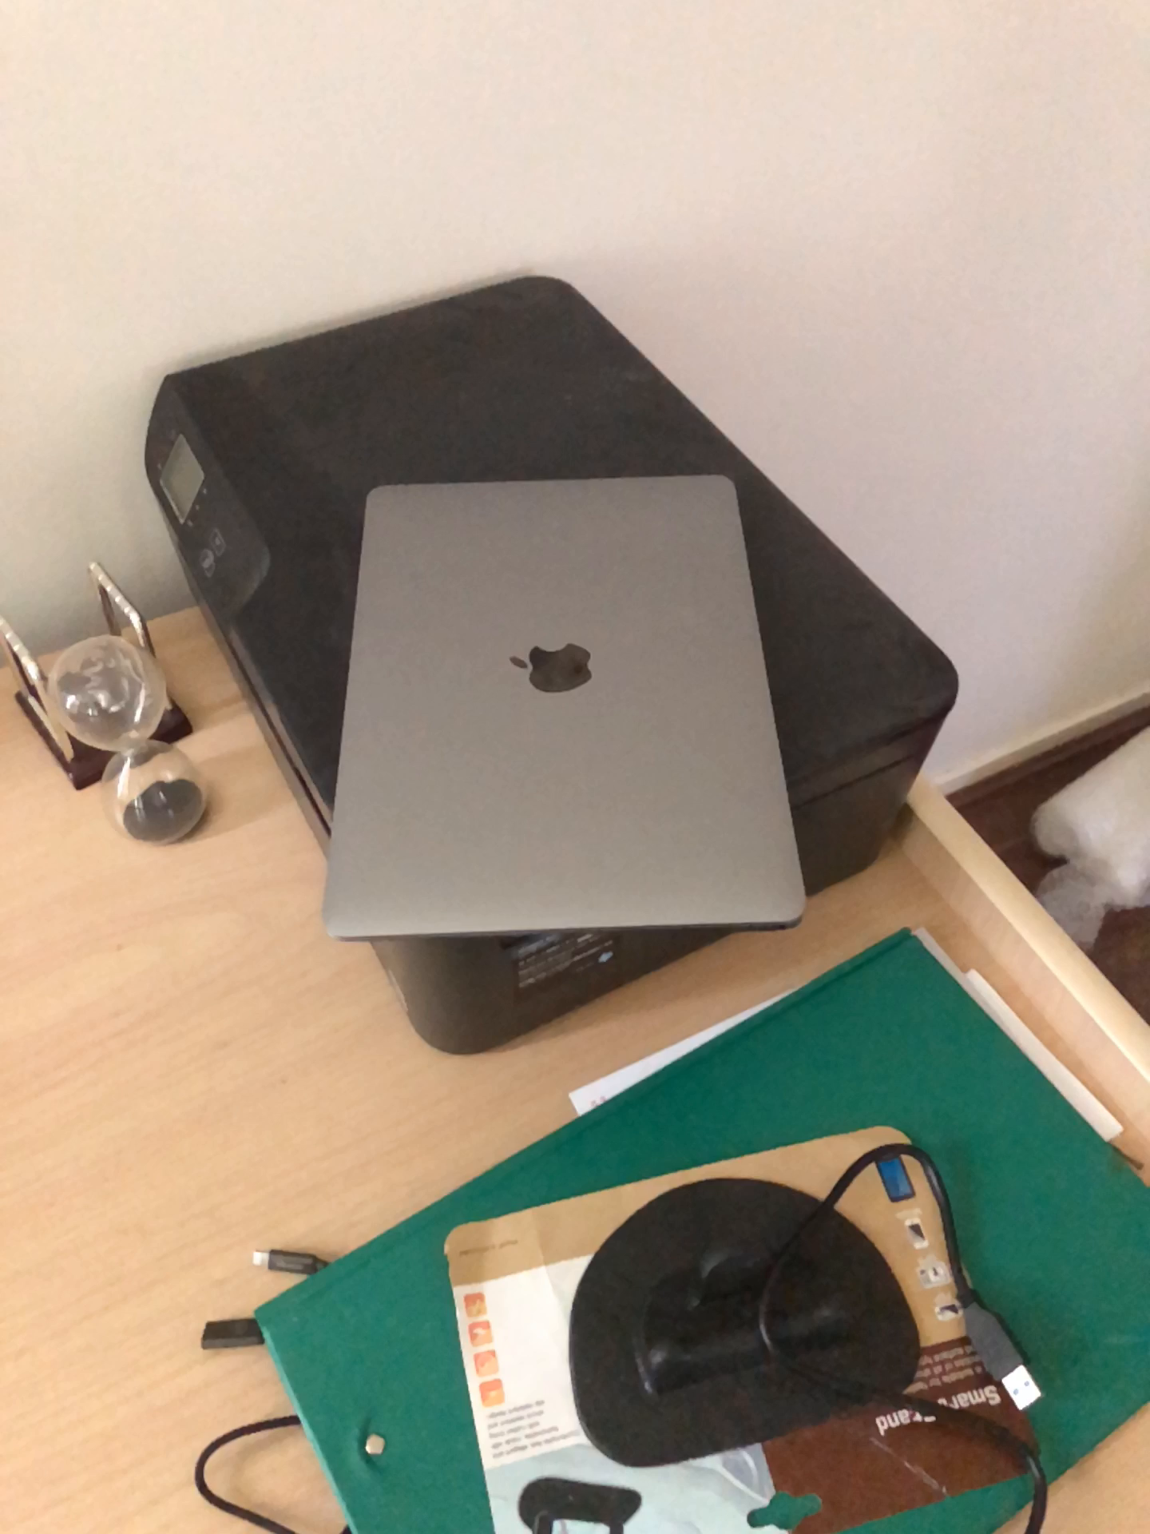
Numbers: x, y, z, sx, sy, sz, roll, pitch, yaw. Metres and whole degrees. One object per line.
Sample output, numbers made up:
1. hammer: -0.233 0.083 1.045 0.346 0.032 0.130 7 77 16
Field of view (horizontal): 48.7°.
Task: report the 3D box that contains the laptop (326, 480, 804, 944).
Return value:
1. laptop: -0.008 -0.040 0.585 0.188 0.007 0.266 -2 52 0
